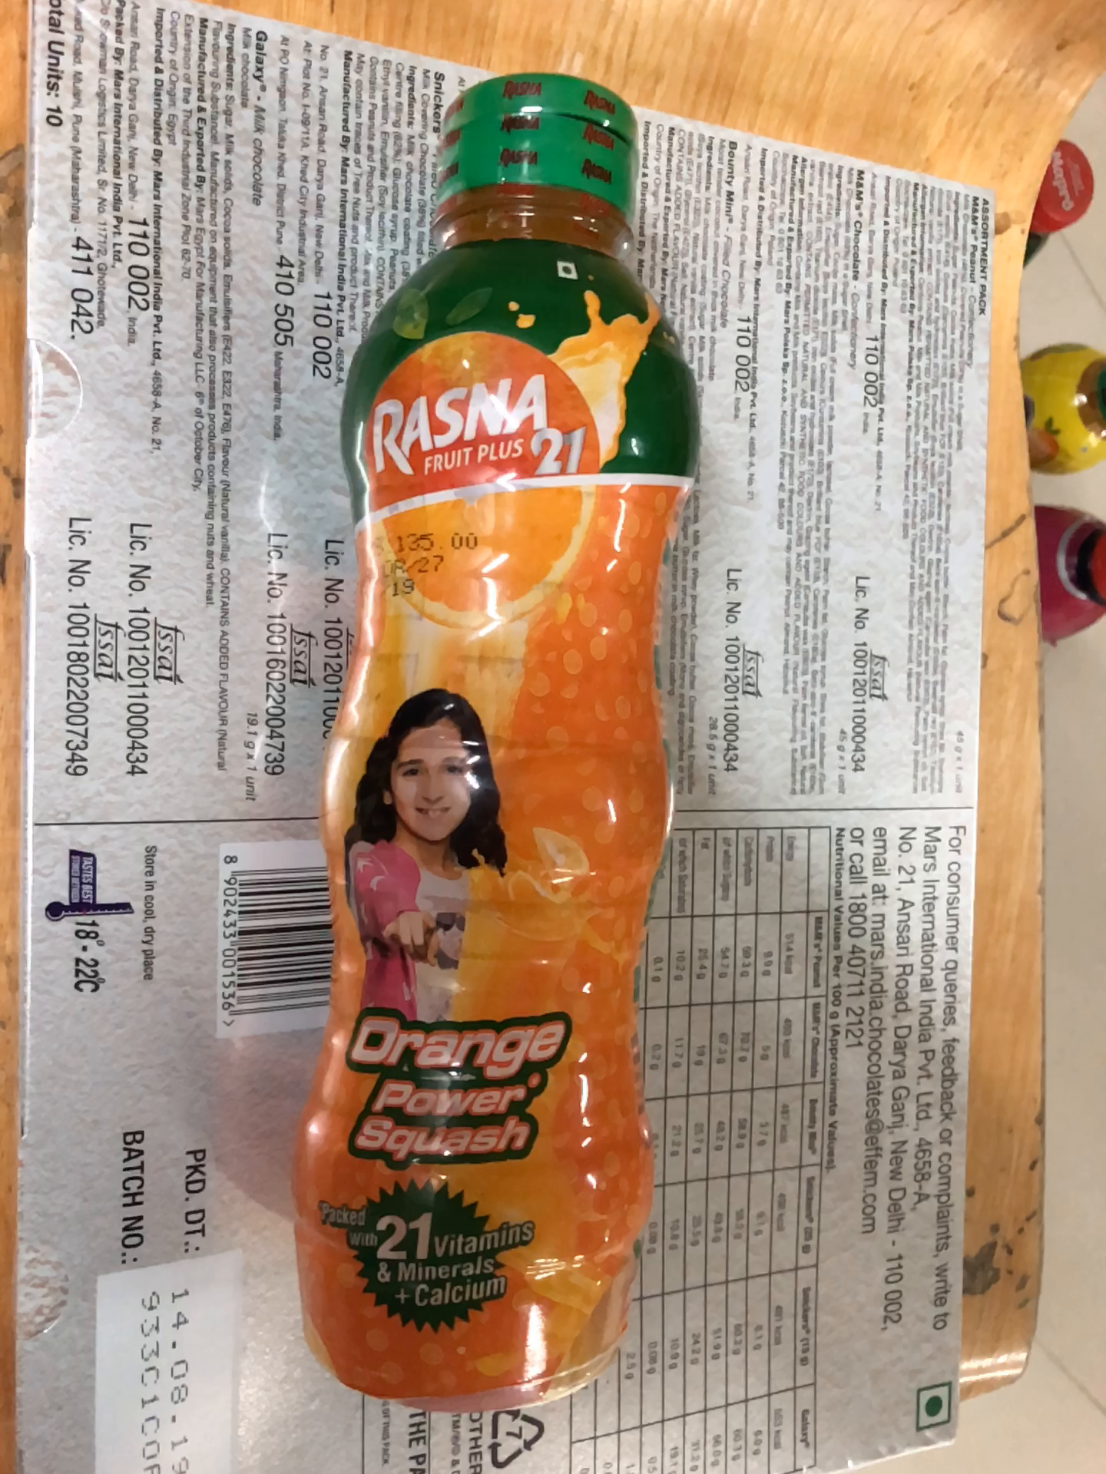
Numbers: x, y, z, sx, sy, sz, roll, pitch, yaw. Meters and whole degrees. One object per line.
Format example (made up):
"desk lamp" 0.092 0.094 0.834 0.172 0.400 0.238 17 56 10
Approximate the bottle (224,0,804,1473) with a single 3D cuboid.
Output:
"bottle" -0.005 -0.009 0.242 0.080 0.070 0.250 -1 94 -59
